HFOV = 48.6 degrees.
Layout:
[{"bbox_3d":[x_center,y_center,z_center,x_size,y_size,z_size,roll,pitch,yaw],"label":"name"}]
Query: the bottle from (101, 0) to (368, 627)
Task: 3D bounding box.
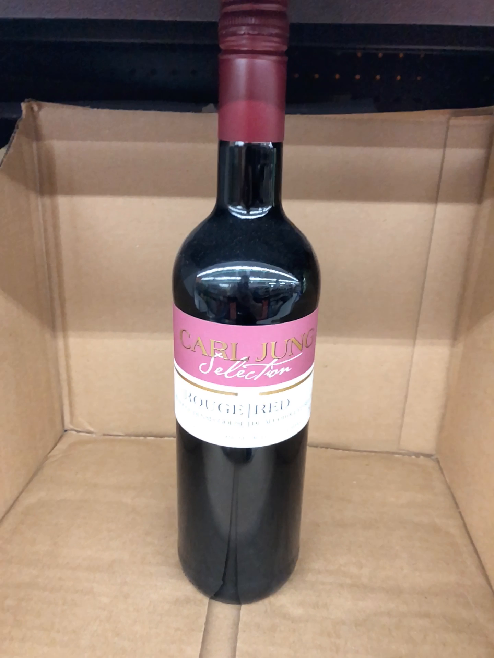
[{"bbox_3d":[-0.003,0.000,0.278,0.090,0.308,0.081,5,23,8],"label":"bottle"}]
